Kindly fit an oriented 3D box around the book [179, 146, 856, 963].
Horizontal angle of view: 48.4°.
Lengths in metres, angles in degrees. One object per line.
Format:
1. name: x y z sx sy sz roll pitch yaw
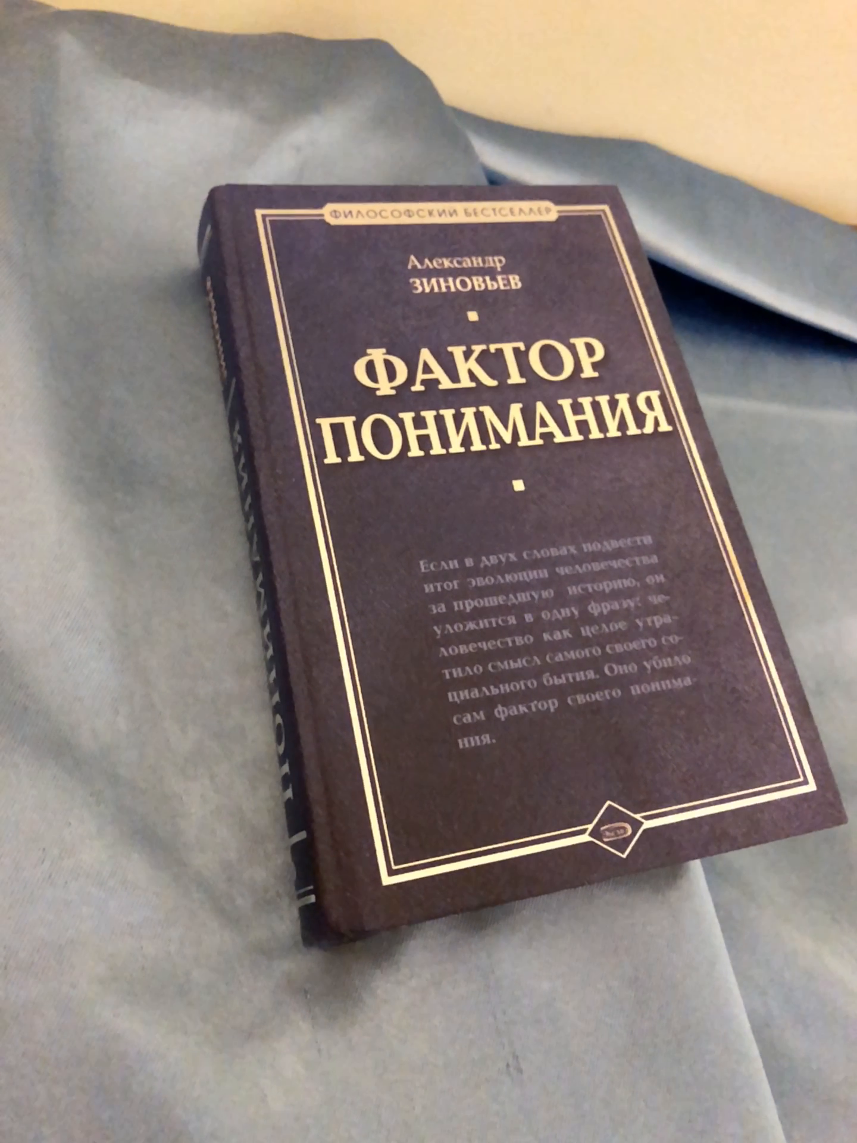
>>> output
1. book: 0.015 -0.023 0.269 0.140 0.040 0.221 -7 67 -15
